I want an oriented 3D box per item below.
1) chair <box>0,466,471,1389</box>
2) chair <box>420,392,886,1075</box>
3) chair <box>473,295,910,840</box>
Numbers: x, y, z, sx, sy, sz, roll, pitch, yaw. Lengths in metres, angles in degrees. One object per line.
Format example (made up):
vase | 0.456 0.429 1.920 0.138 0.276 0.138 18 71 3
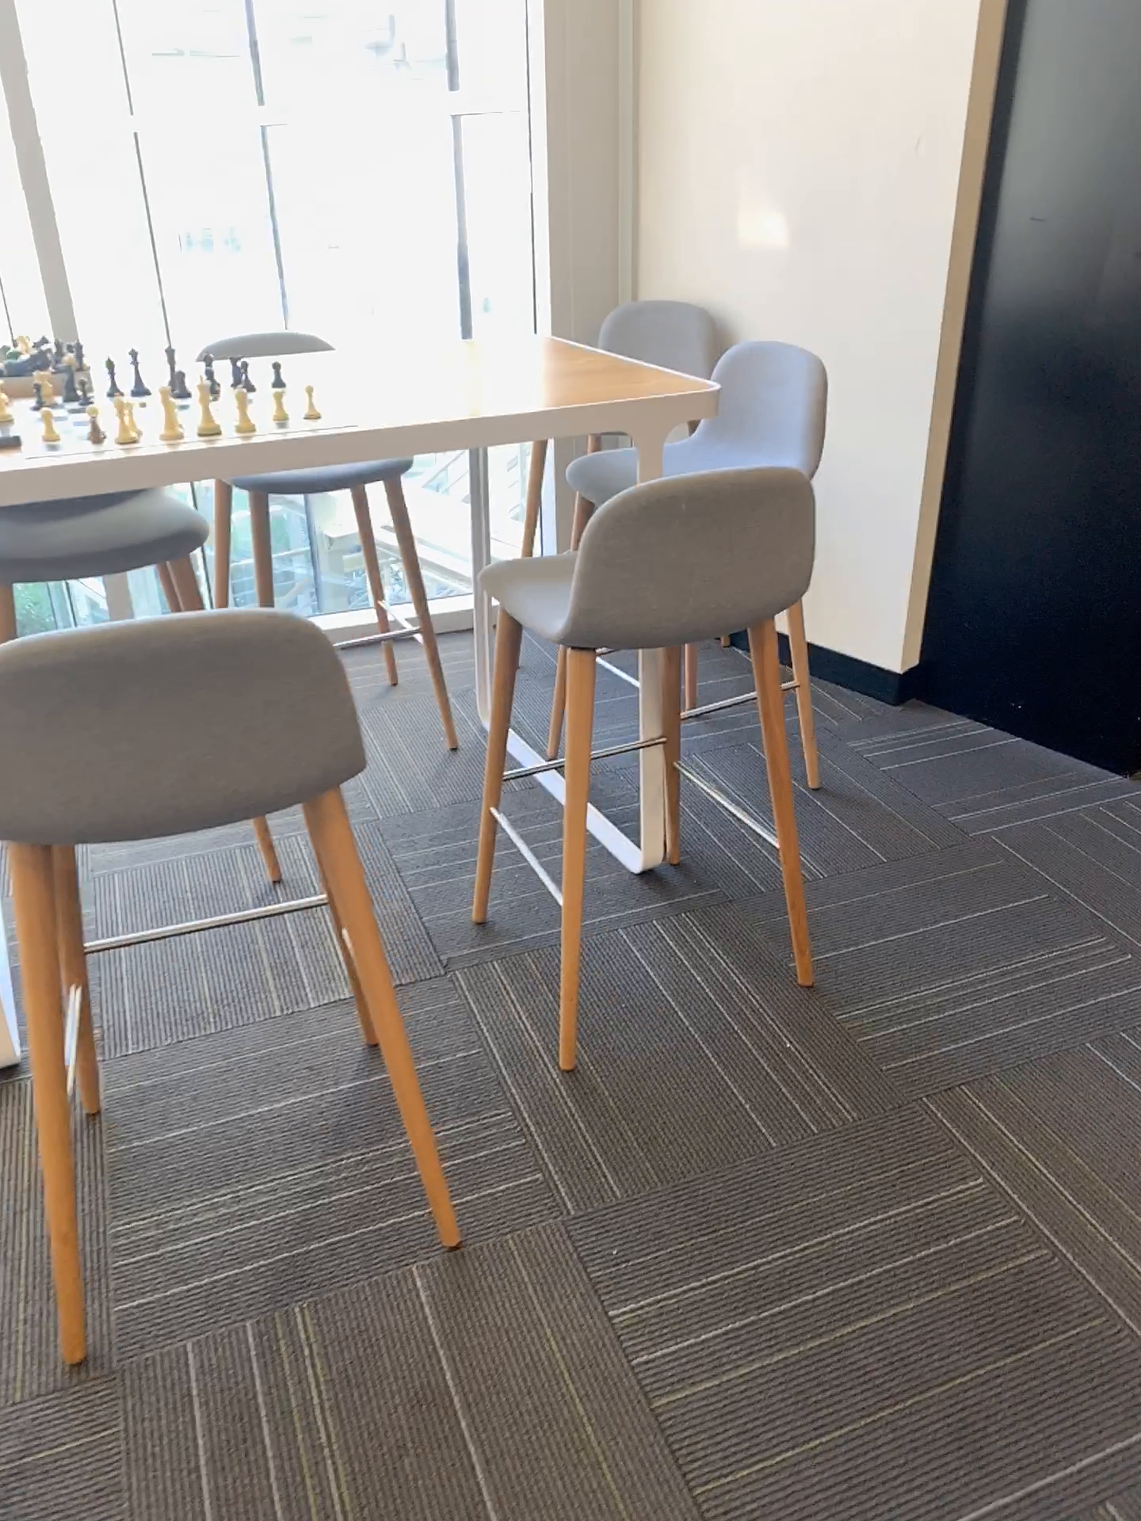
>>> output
chair | -0.490 0.176 1.500 0.550 0.934 0.553 -10 28 -17
chair | 0.106 -0.076 1.978 0.500 0.934 0.553 -13 30 -22
chair | 0.226 -0.498 2.713 0.620 0.994 0.784 -13 29 -22
